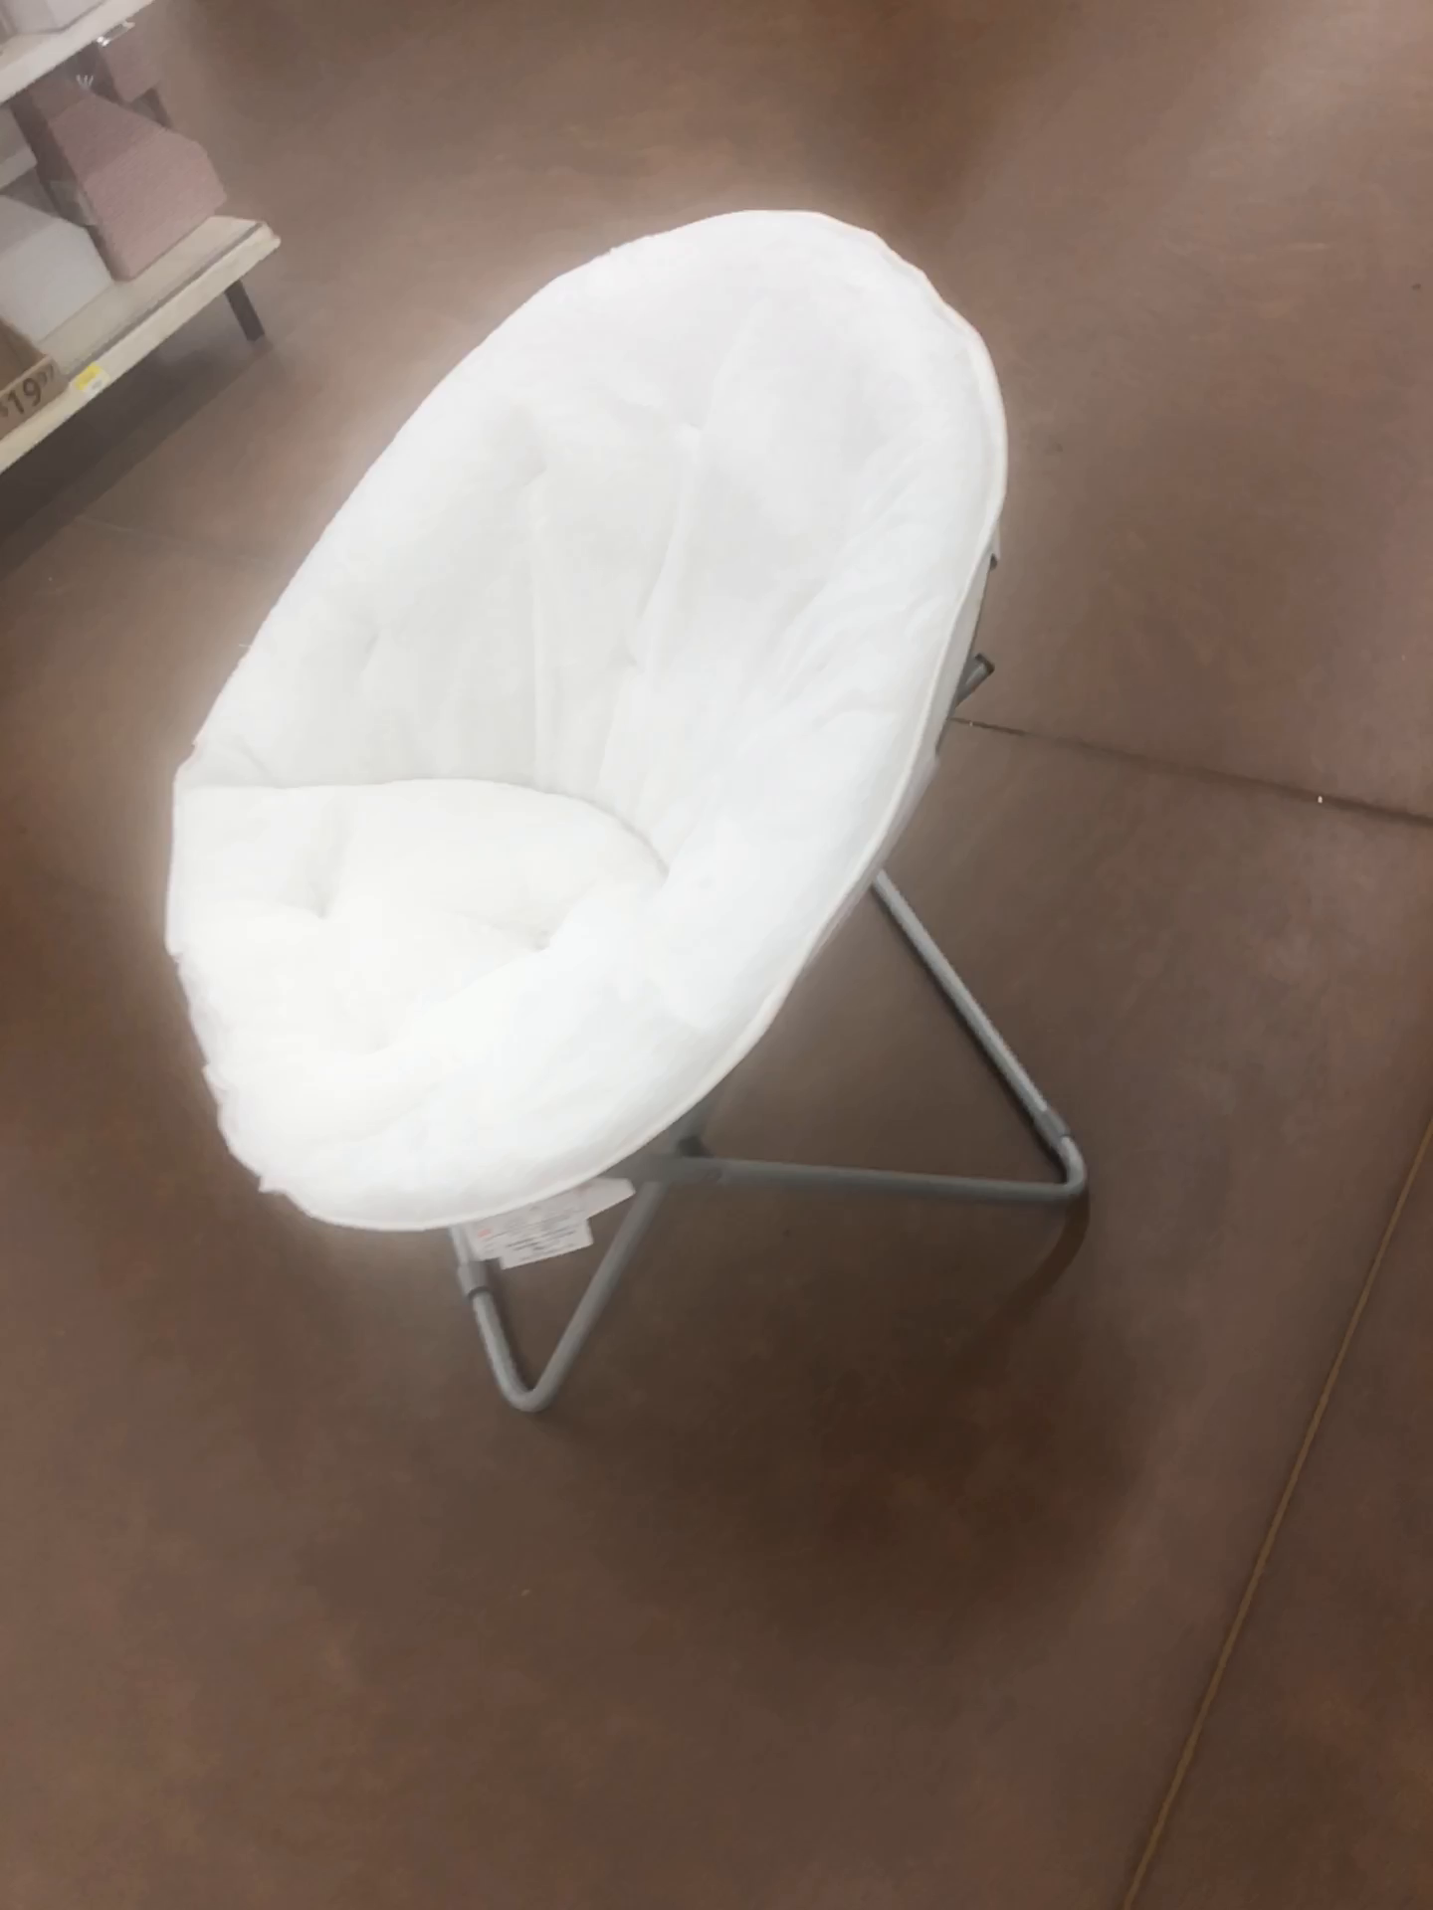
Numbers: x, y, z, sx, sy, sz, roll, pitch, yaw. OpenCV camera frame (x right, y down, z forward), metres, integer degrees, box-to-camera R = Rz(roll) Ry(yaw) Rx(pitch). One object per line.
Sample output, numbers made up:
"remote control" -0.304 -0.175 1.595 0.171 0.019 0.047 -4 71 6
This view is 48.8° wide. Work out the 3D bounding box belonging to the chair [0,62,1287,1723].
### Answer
"chair" -0.149 -0.071 1.157 0.750 0.648 0.763 -25 47 -4
